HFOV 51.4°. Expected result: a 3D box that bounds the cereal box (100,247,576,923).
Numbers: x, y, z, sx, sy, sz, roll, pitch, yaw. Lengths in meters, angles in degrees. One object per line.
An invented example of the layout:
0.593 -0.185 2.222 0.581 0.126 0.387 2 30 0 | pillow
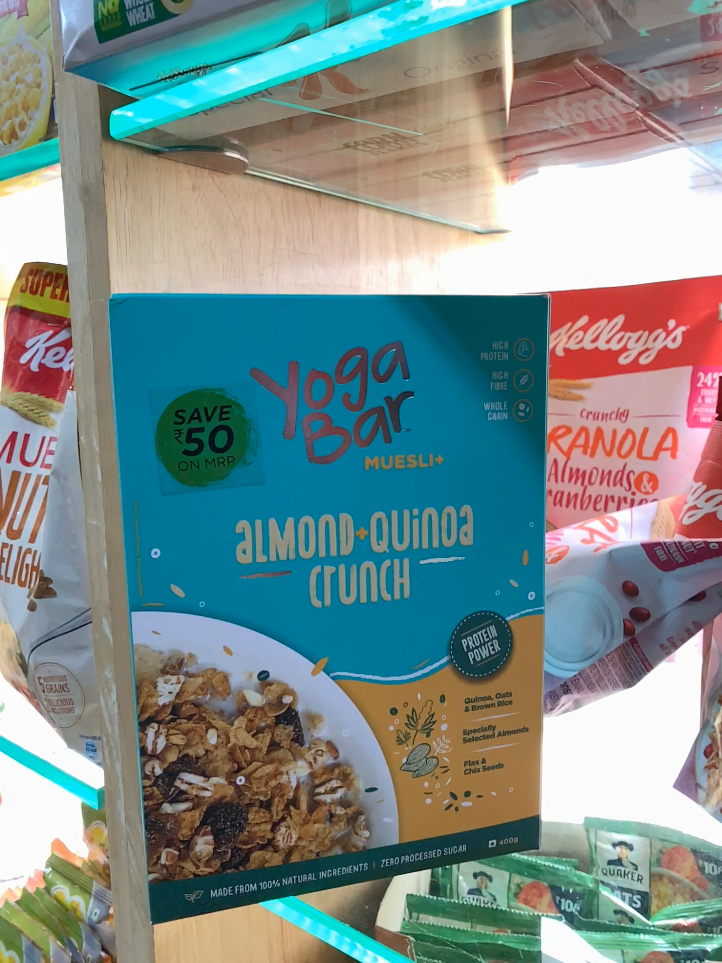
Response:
-0.007 0.030 0.287 0.160 0.219 0.060 -3 8 -15 | cereal box
